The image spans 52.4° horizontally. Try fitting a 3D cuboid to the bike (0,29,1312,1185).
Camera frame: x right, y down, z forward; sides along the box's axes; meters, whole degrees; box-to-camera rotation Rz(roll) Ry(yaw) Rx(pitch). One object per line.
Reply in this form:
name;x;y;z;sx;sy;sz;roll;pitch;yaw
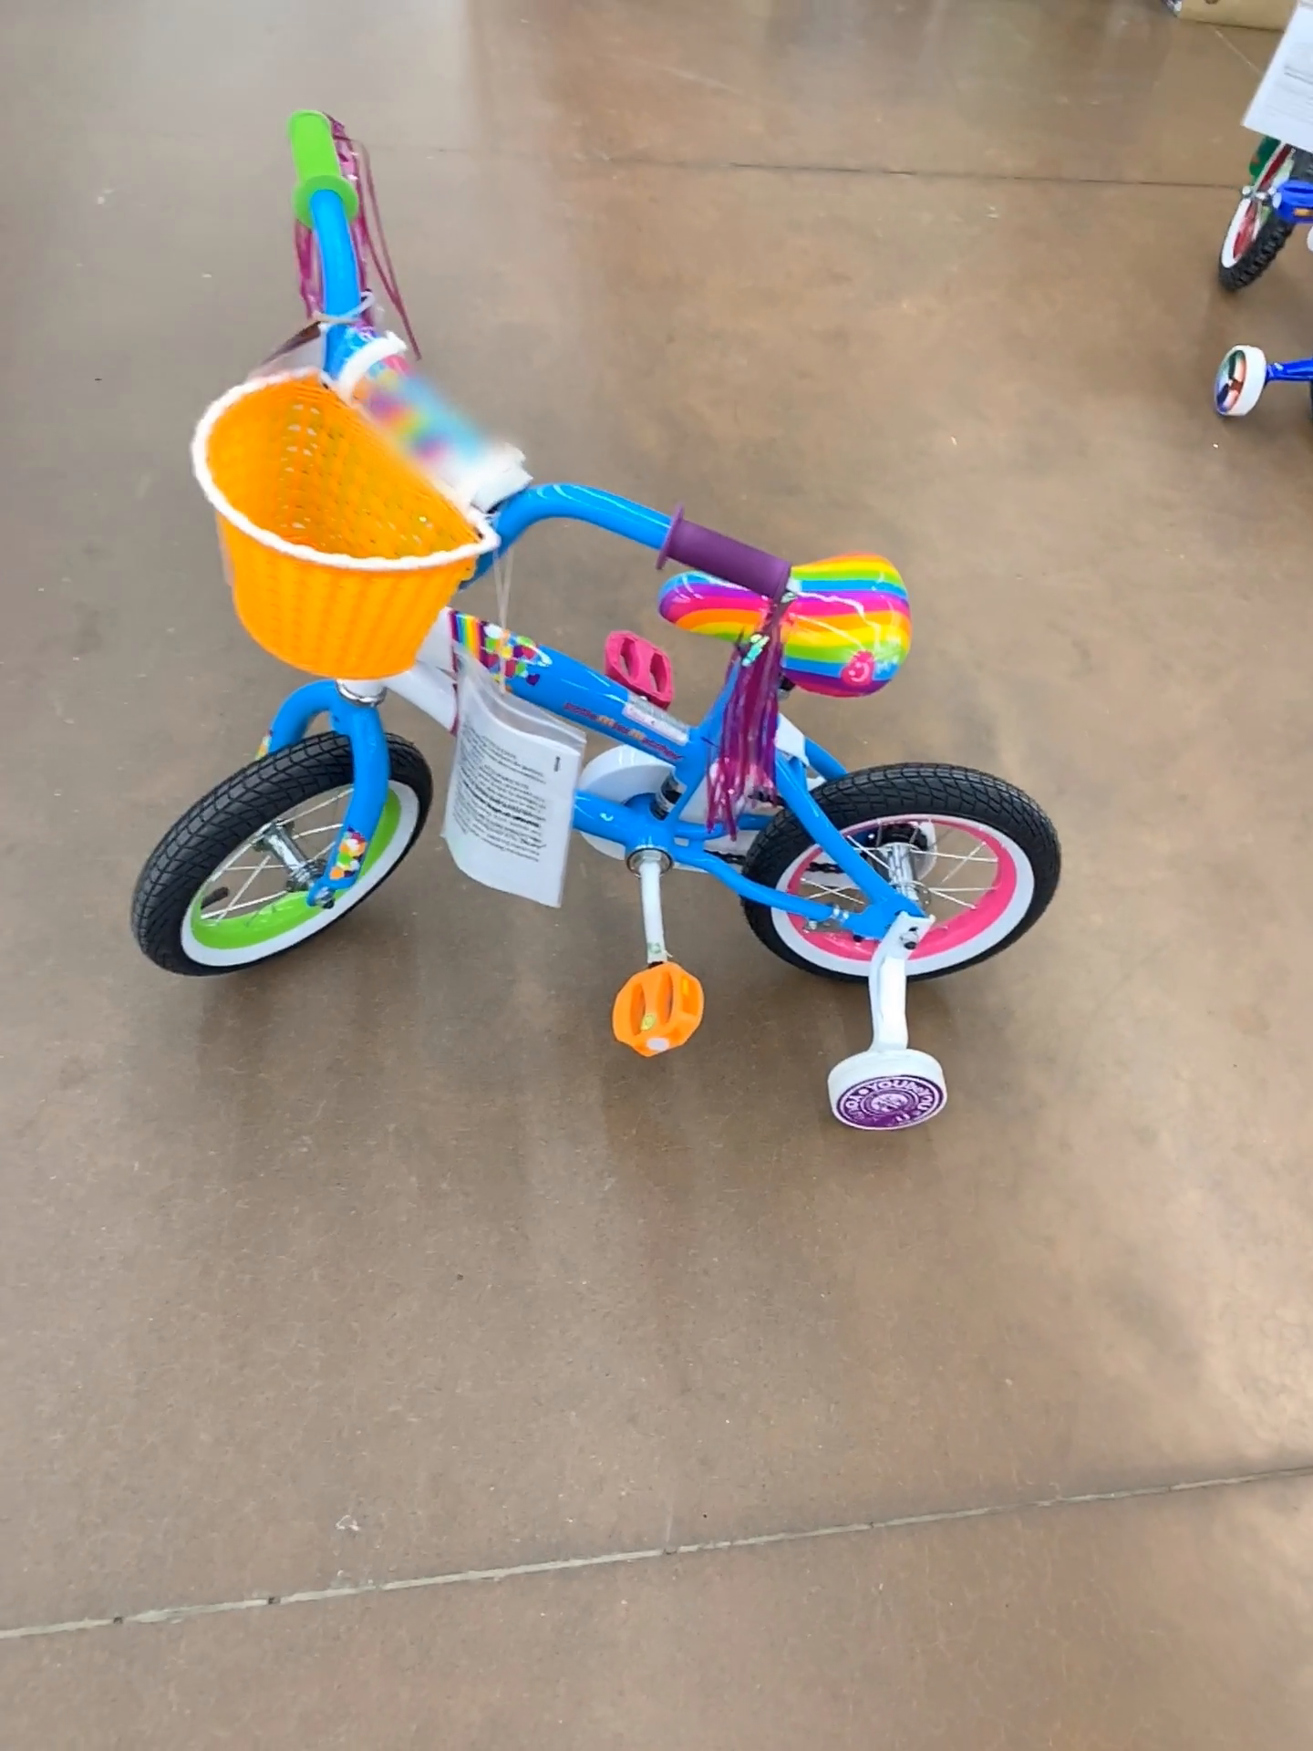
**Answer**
bike;-0.016;-0.180;1.111;0.816;0.664;0.554;-3;50;-13
